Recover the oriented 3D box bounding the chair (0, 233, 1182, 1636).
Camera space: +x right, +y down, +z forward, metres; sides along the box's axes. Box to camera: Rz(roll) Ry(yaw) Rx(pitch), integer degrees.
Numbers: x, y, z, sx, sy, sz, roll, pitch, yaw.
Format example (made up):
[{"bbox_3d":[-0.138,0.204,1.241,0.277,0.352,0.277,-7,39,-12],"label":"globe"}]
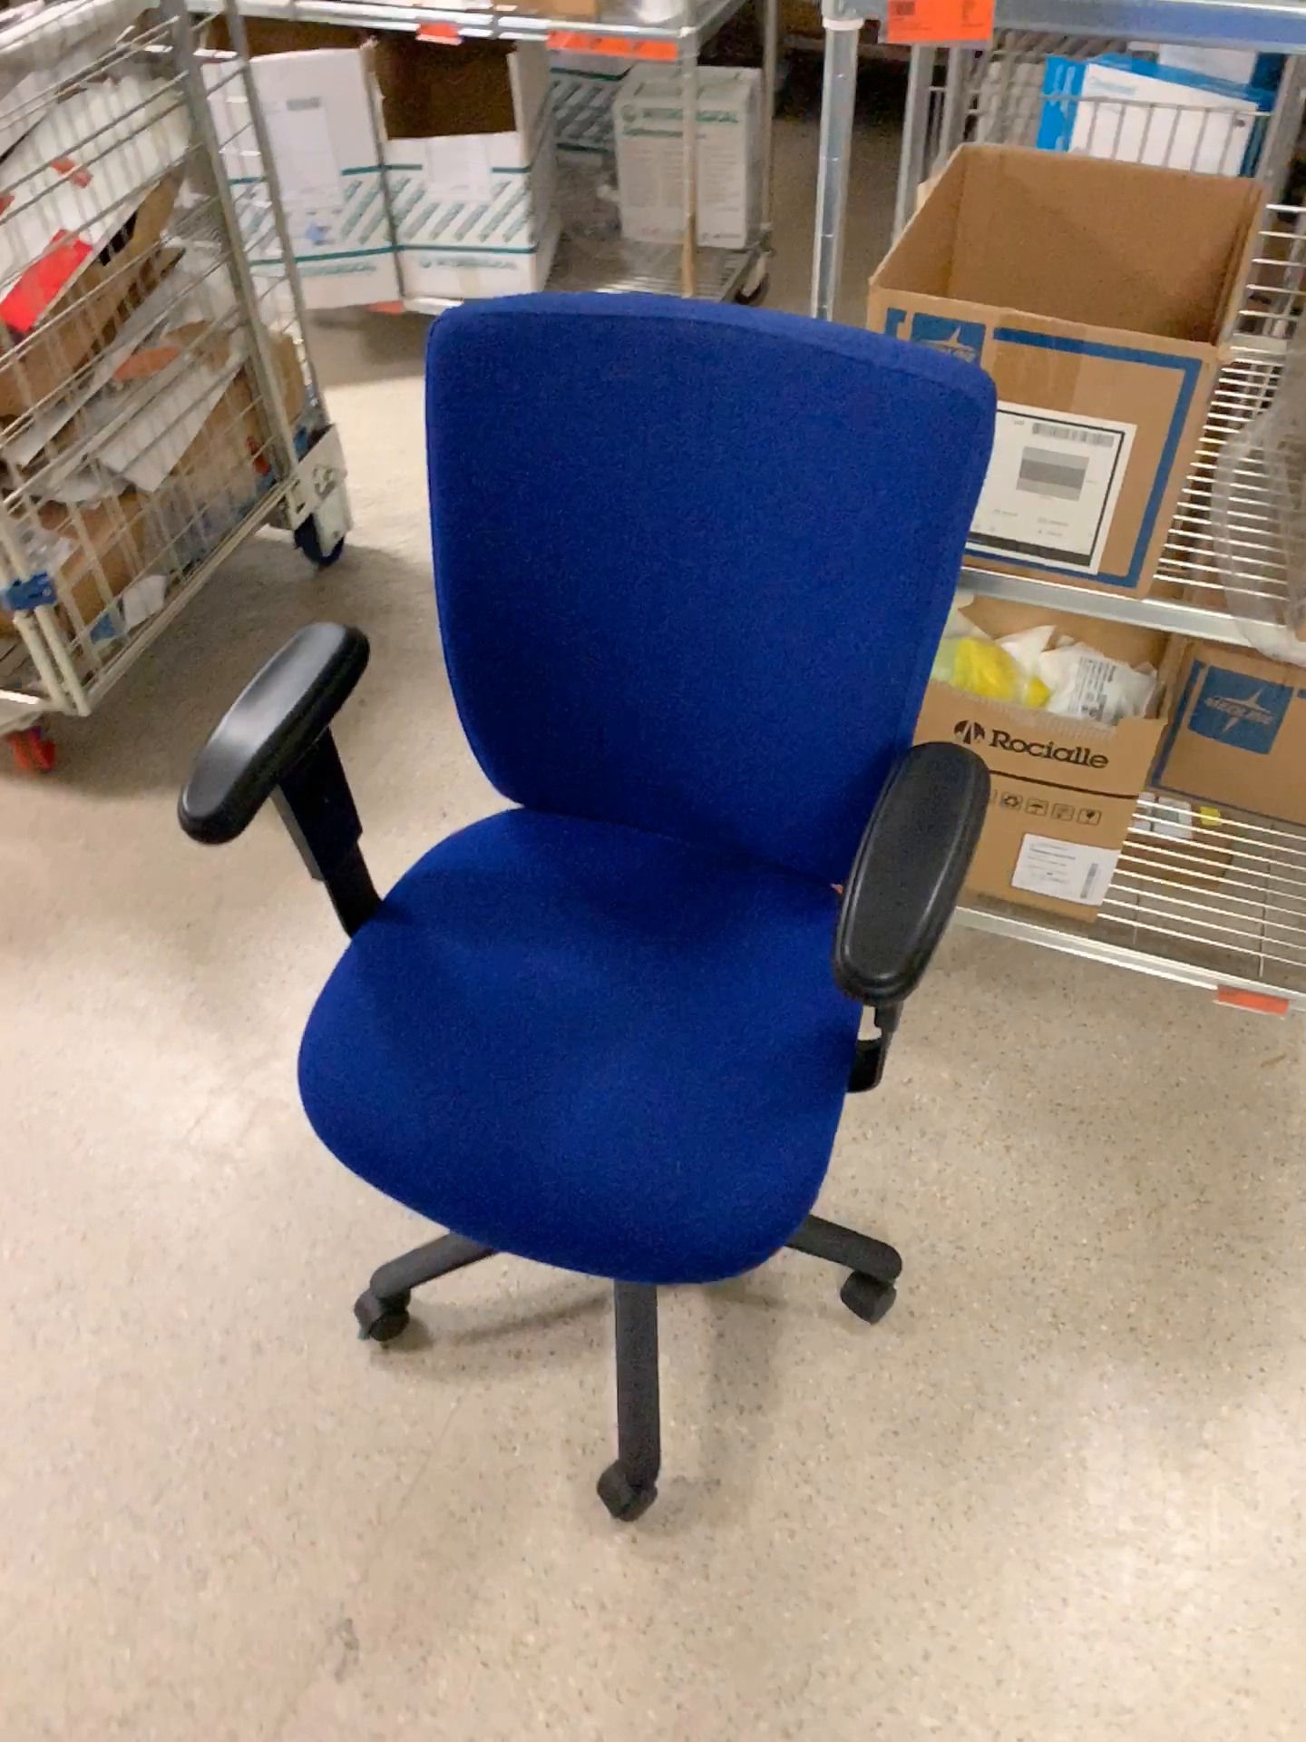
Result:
[{"bbox_3d":[-0.042,0.080,1.219,0.679,0.950,0.671,17,50,17],"label":"chair"}]
